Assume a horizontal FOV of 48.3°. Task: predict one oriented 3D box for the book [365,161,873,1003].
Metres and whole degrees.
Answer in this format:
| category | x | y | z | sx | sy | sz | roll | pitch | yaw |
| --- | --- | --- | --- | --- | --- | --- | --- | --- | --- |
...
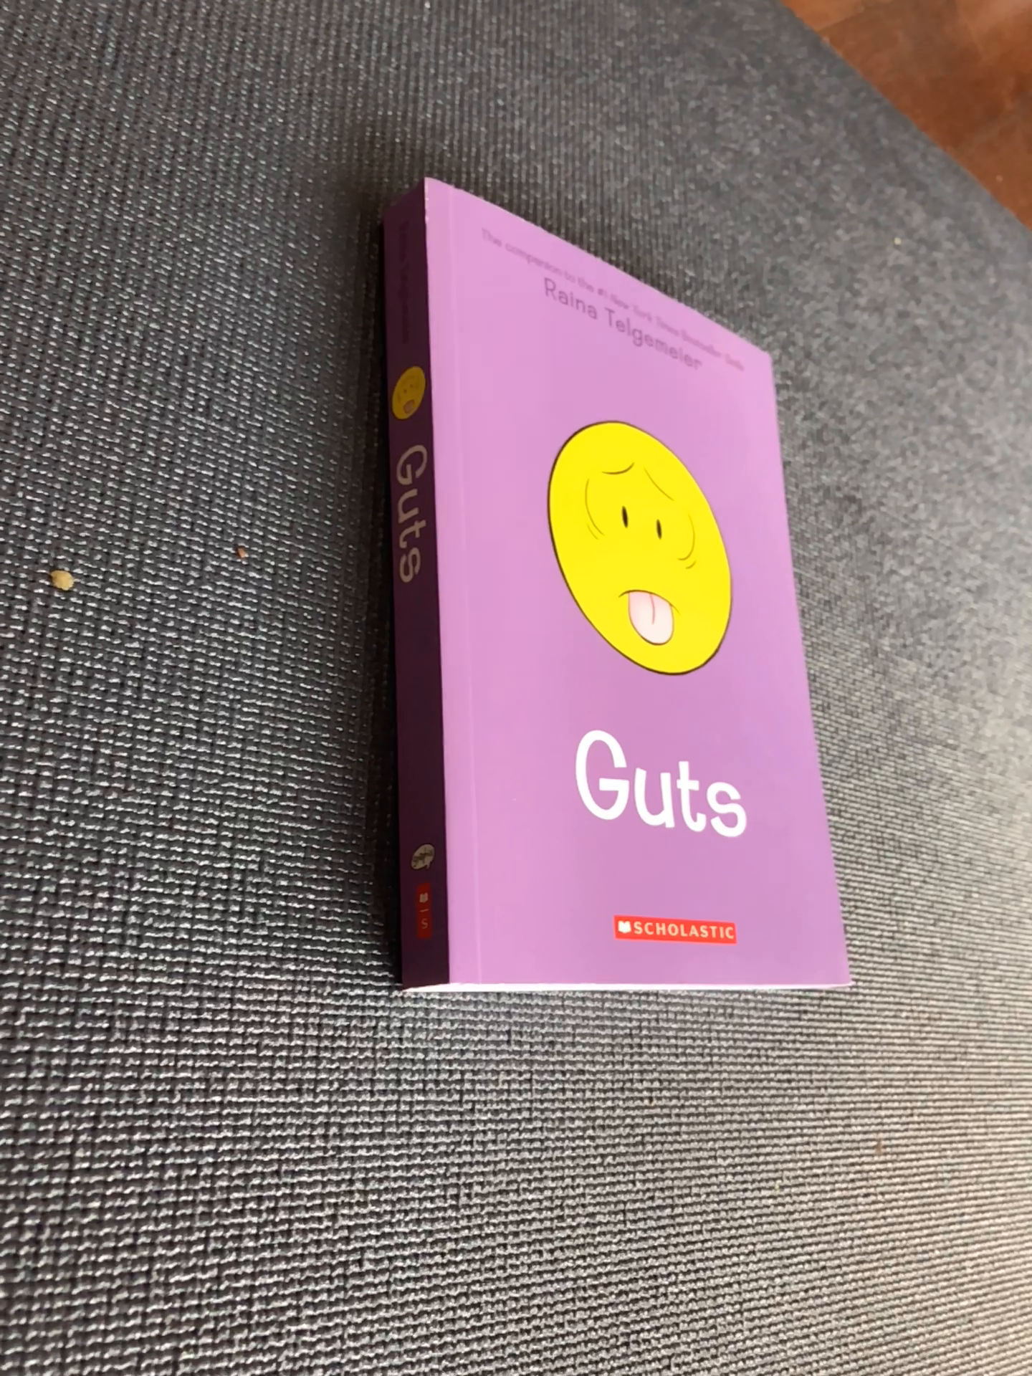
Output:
| category | x | y | z | sx | sy | sz | roll | pitch | yaw |
| --- | --- | --- | --- | --- | --- | --- | --- | --- | --- |
| book | 0.029 | -0.022 | 0.310 | 0.144 | 0.024 | 0.202 | 12 | 66 | -39 |
